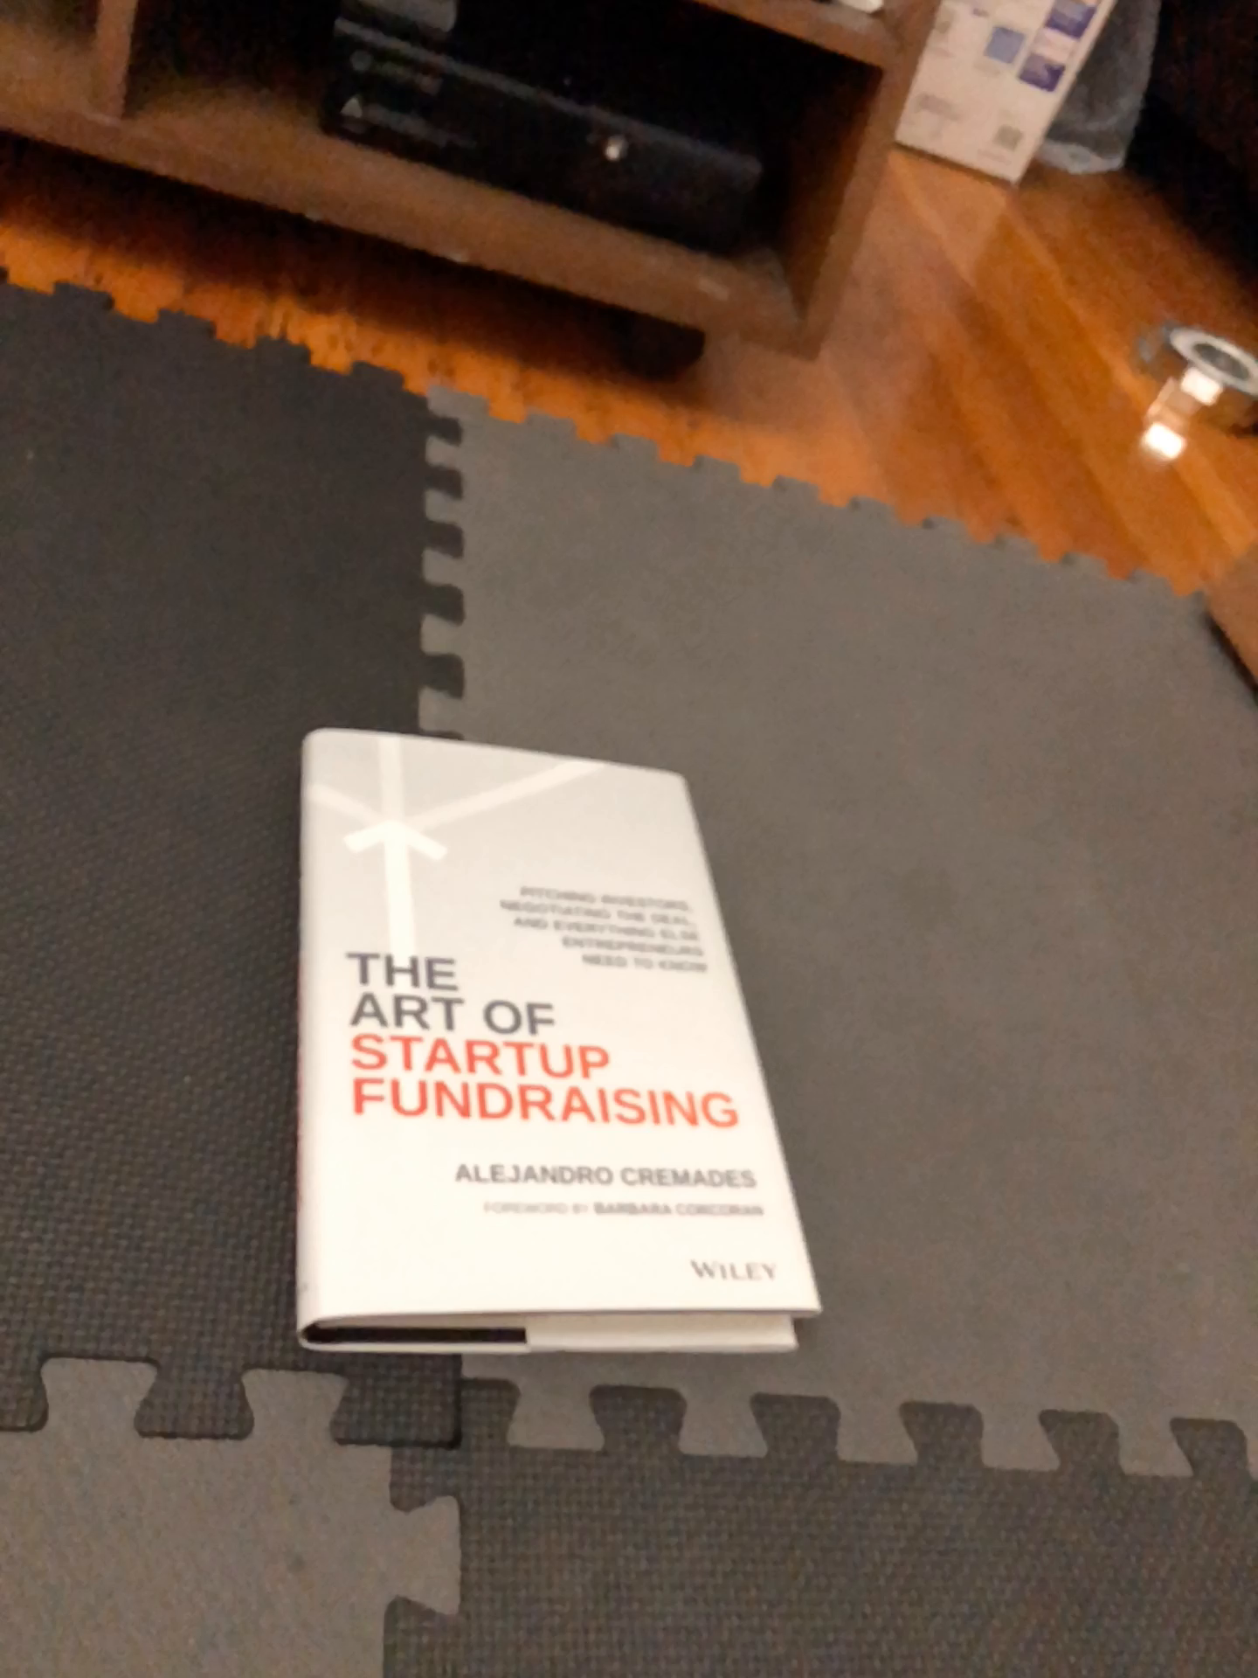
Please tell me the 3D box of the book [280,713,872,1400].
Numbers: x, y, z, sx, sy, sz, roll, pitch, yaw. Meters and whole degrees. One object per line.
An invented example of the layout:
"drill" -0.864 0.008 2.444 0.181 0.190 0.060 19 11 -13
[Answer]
"book" -0.029 0.063 0.489 0.170 0.030 0.251 8 44 -19
